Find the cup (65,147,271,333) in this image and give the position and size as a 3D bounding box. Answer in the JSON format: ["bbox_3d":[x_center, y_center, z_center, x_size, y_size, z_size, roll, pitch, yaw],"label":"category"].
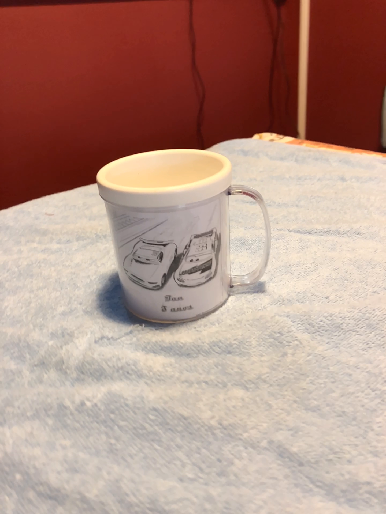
[{"bbox_3d":[-0.007,-0.015,0.307,0.120,0.099,0.091,0,28,9],"label":"cup"}]
